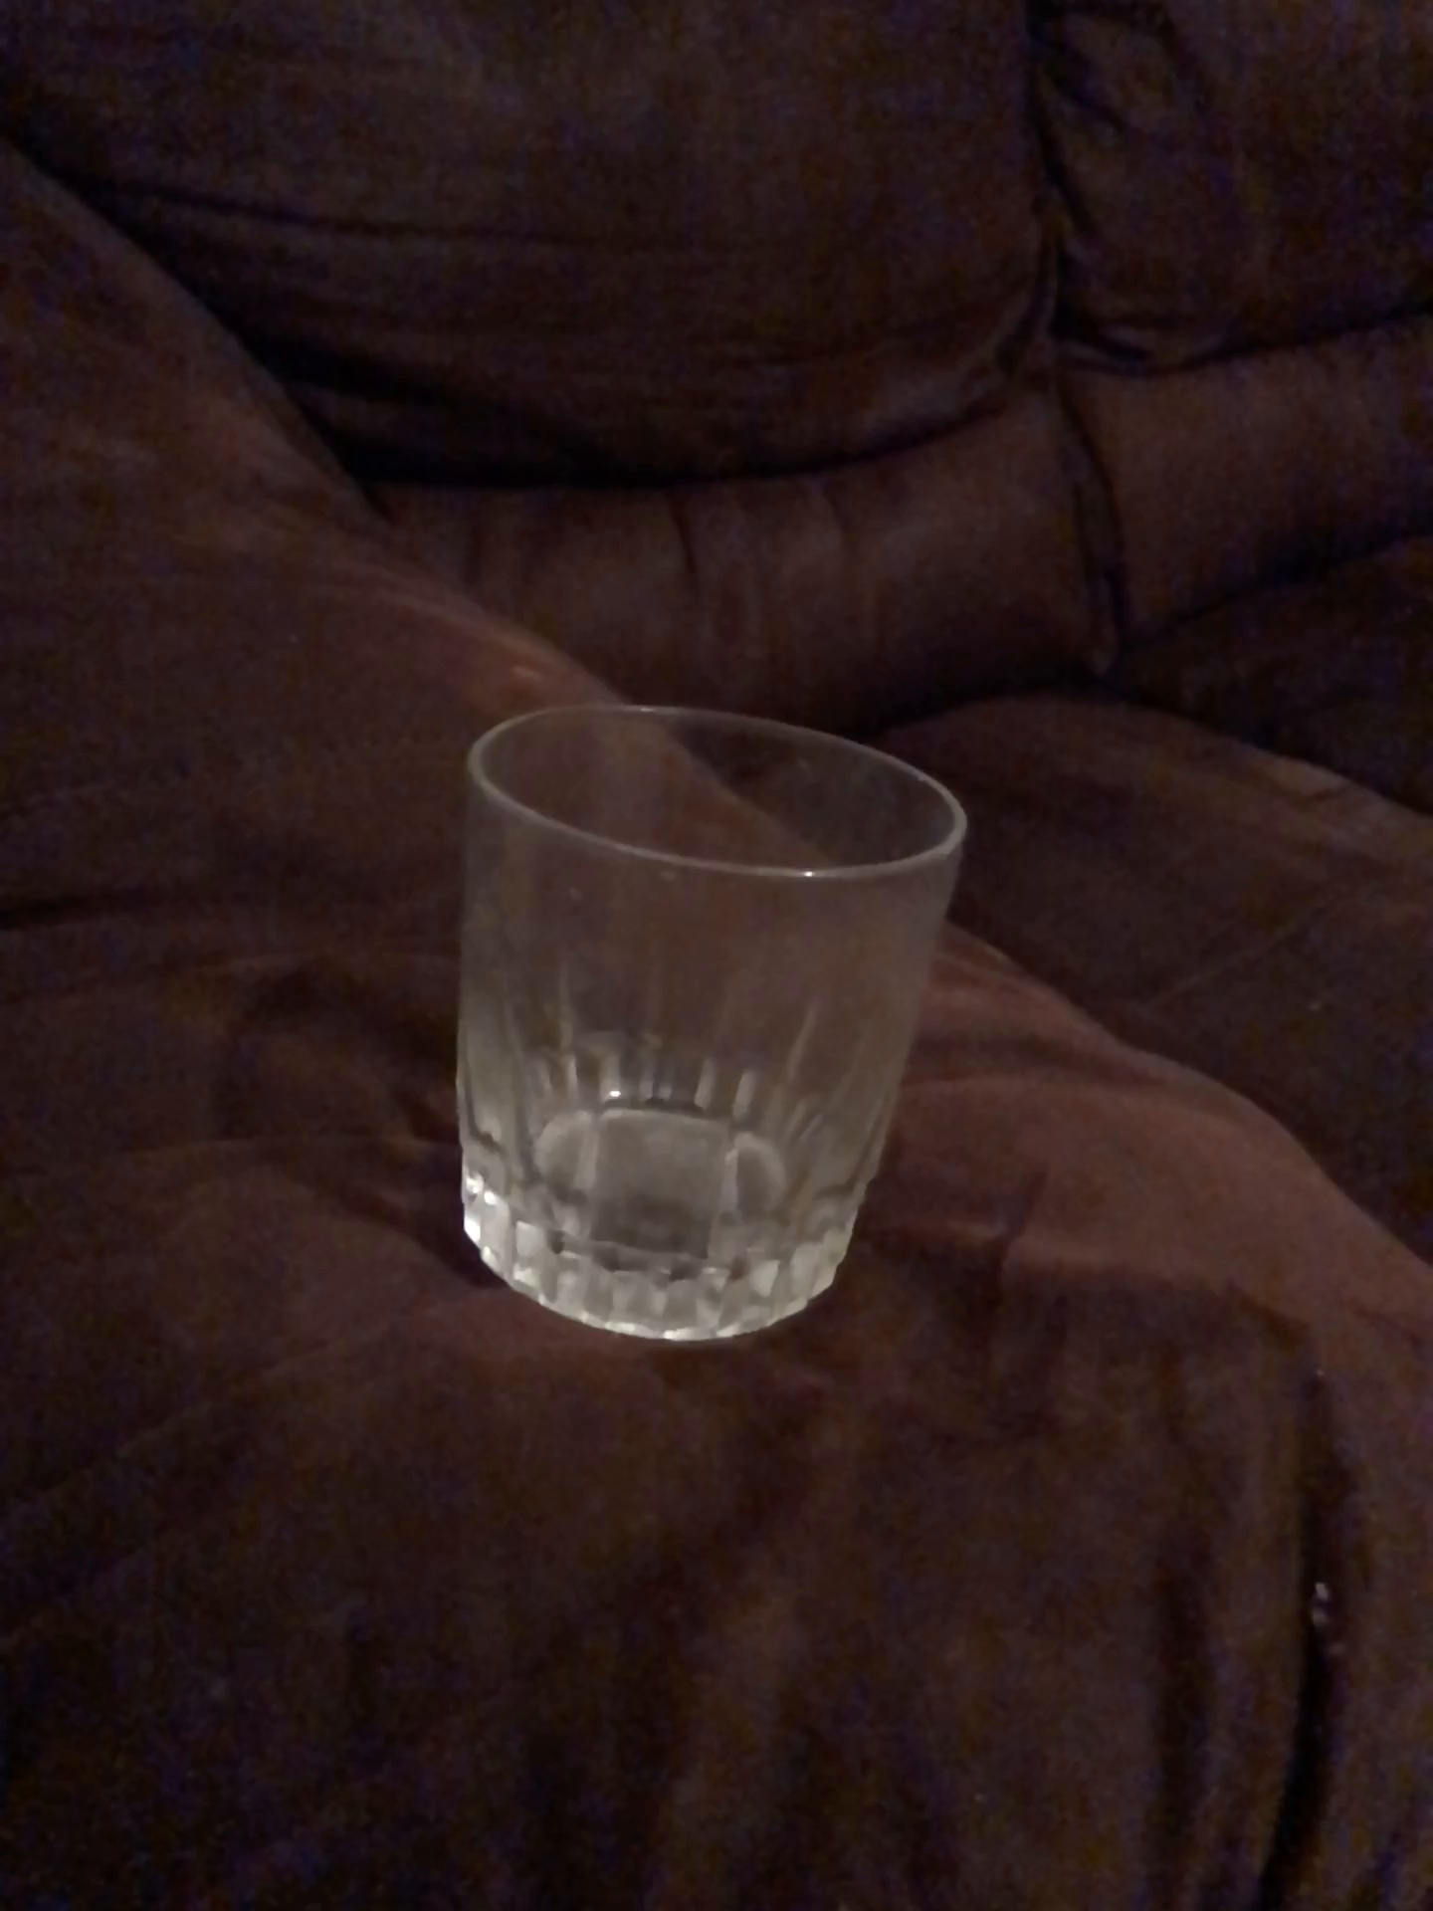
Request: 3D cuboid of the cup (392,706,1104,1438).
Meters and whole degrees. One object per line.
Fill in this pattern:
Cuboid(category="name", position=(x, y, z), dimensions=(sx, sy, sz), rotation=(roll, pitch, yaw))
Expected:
Cuboid(category="cup", position=(-0.003, 0.012, 0.268), dimensions=(0.086, 0.086, 0.087), rotation=(5, 22, -2))
